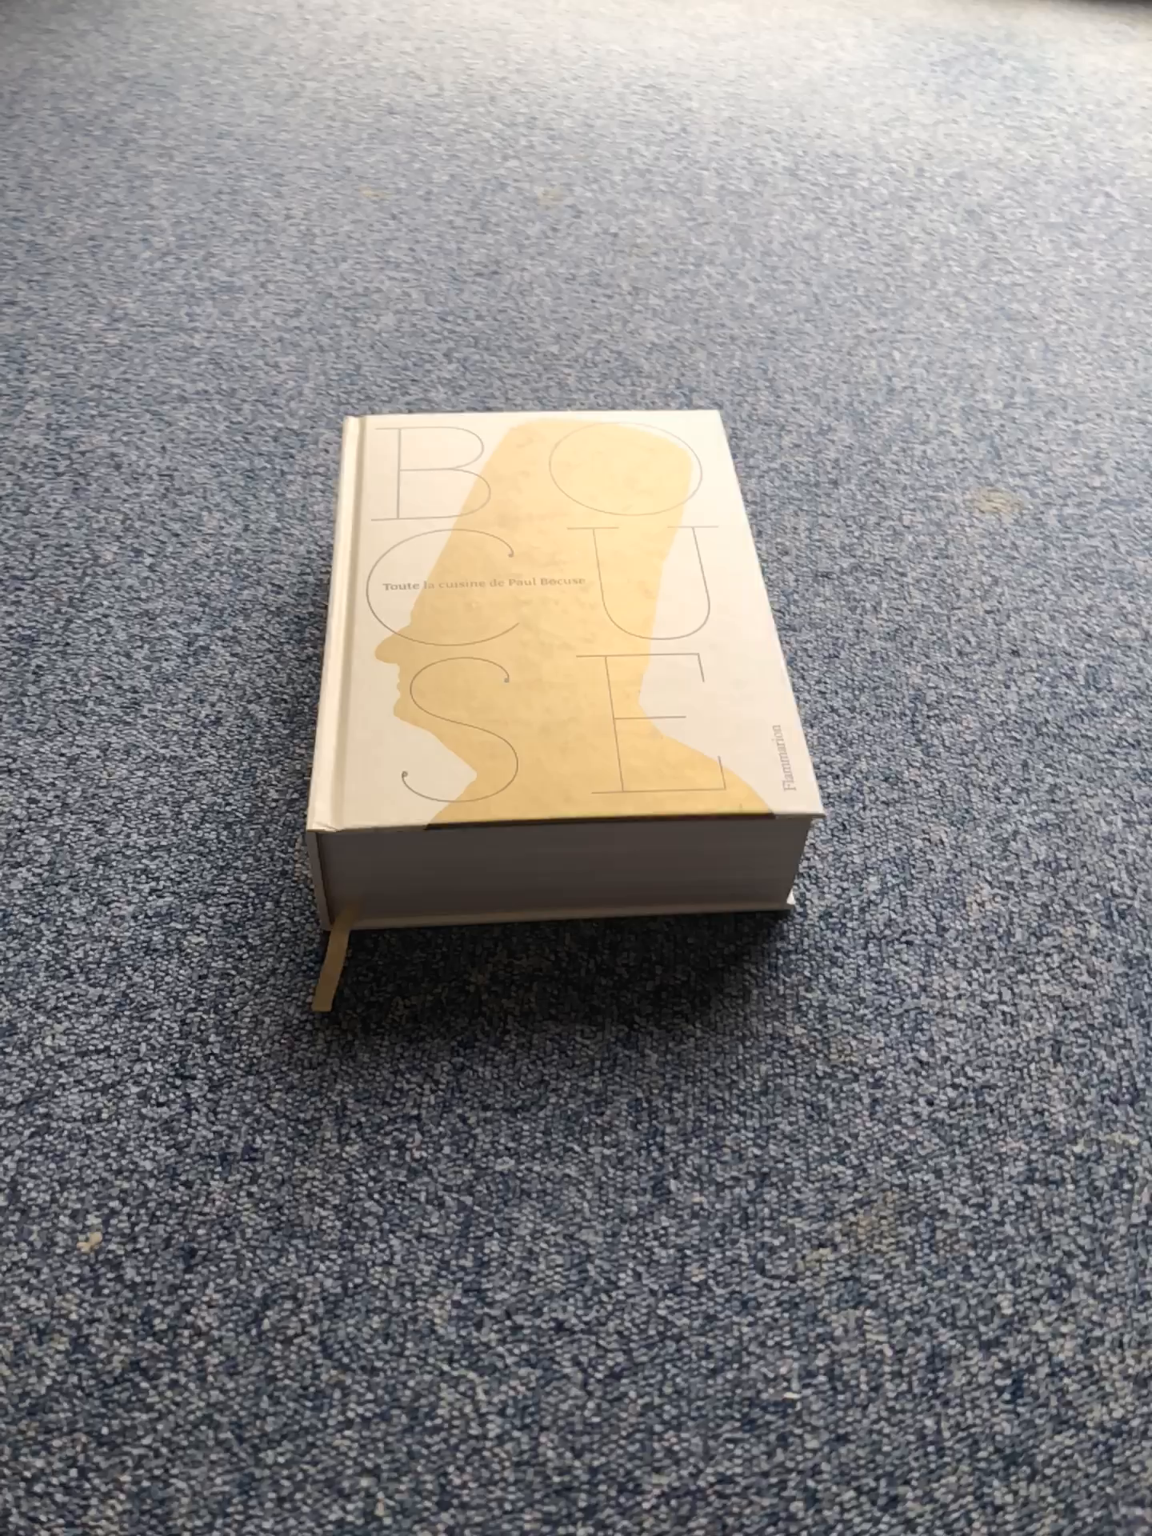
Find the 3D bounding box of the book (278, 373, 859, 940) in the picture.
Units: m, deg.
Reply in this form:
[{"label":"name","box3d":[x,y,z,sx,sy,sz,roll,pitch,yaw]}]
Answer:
[{"label":"book","box3d":[-0.010,-0.066,0.560,0.200,0.080,0.281,-1,47,-4]}]
